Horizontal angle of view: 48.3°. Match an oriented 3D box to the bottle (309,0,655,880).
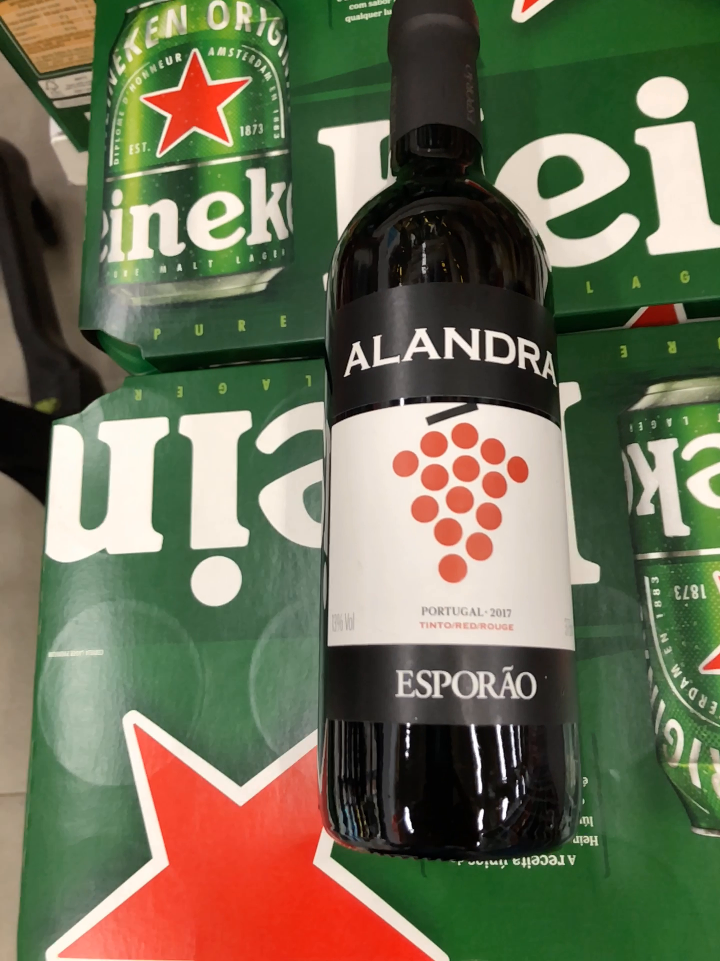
[{"bbox_3d":[0.018,-0.040,0.201,0.060,0.060,0.240,0,75,-3],"label":"bottle"}]
